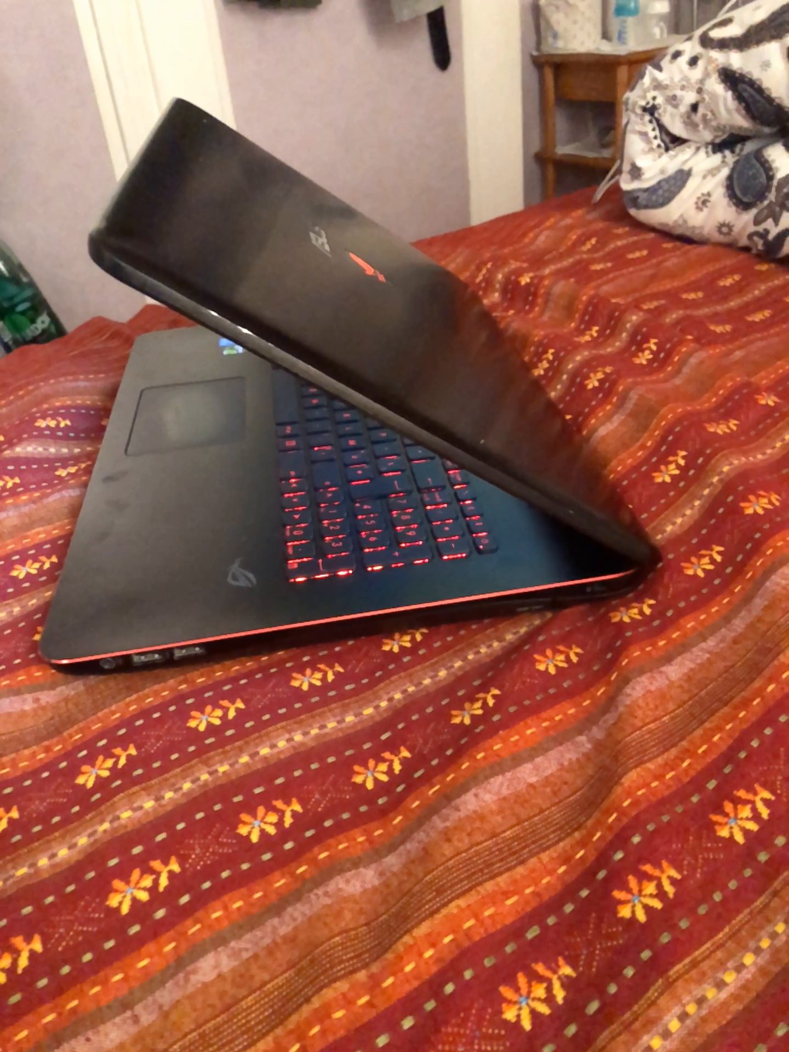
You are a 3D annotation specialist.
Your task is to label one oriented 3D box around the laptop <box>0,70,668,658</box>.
[{"bbox_3d":[-0.054,-0.140,0.508,0.267,0.168,0.400,-8,33,-4],"label":"laptop"}]
